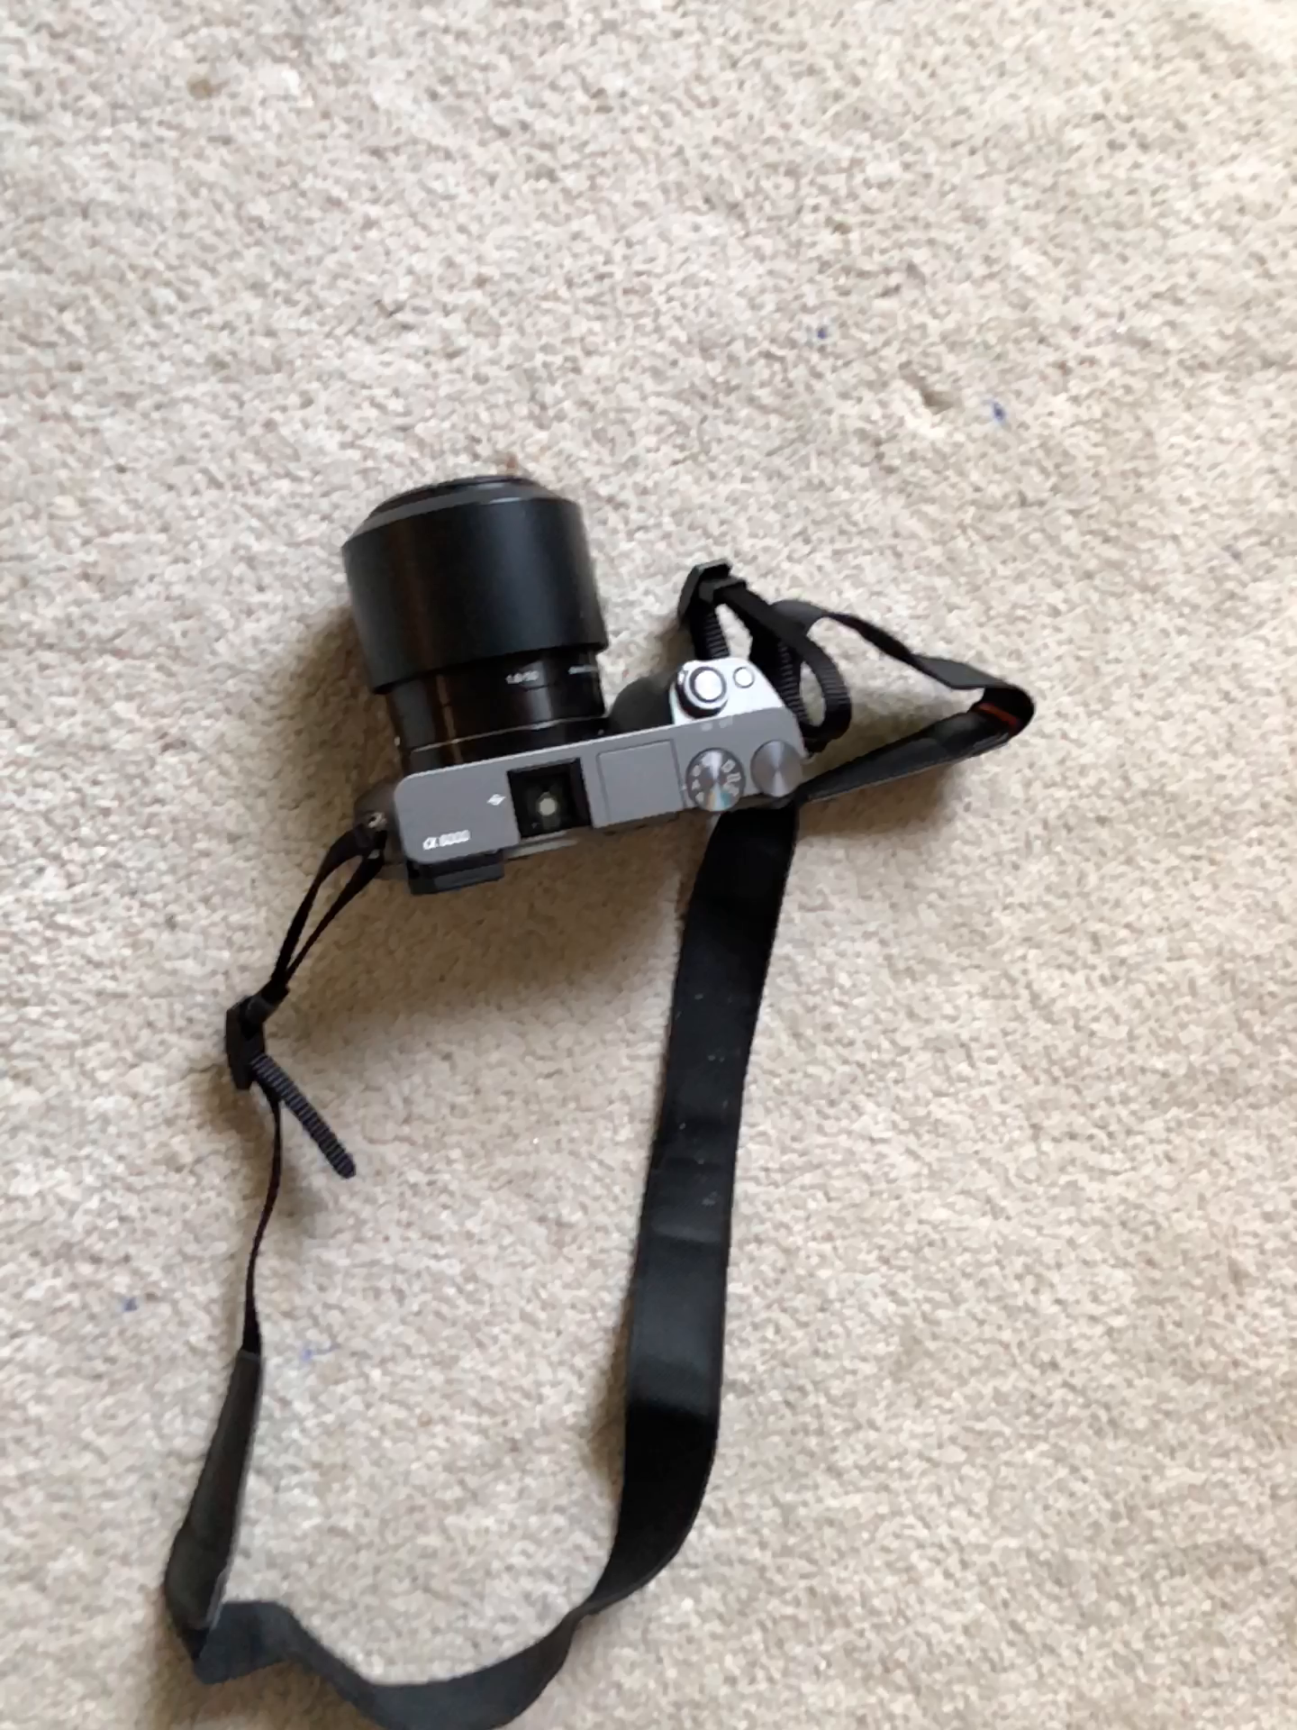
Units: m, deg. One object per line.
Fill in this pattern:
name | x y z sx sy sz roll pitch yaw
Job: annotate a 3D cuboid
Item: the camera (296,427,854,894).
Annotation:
camera | -0.022 -0.054 0.393 0.120 0.070 0.100 -13 94 -21
